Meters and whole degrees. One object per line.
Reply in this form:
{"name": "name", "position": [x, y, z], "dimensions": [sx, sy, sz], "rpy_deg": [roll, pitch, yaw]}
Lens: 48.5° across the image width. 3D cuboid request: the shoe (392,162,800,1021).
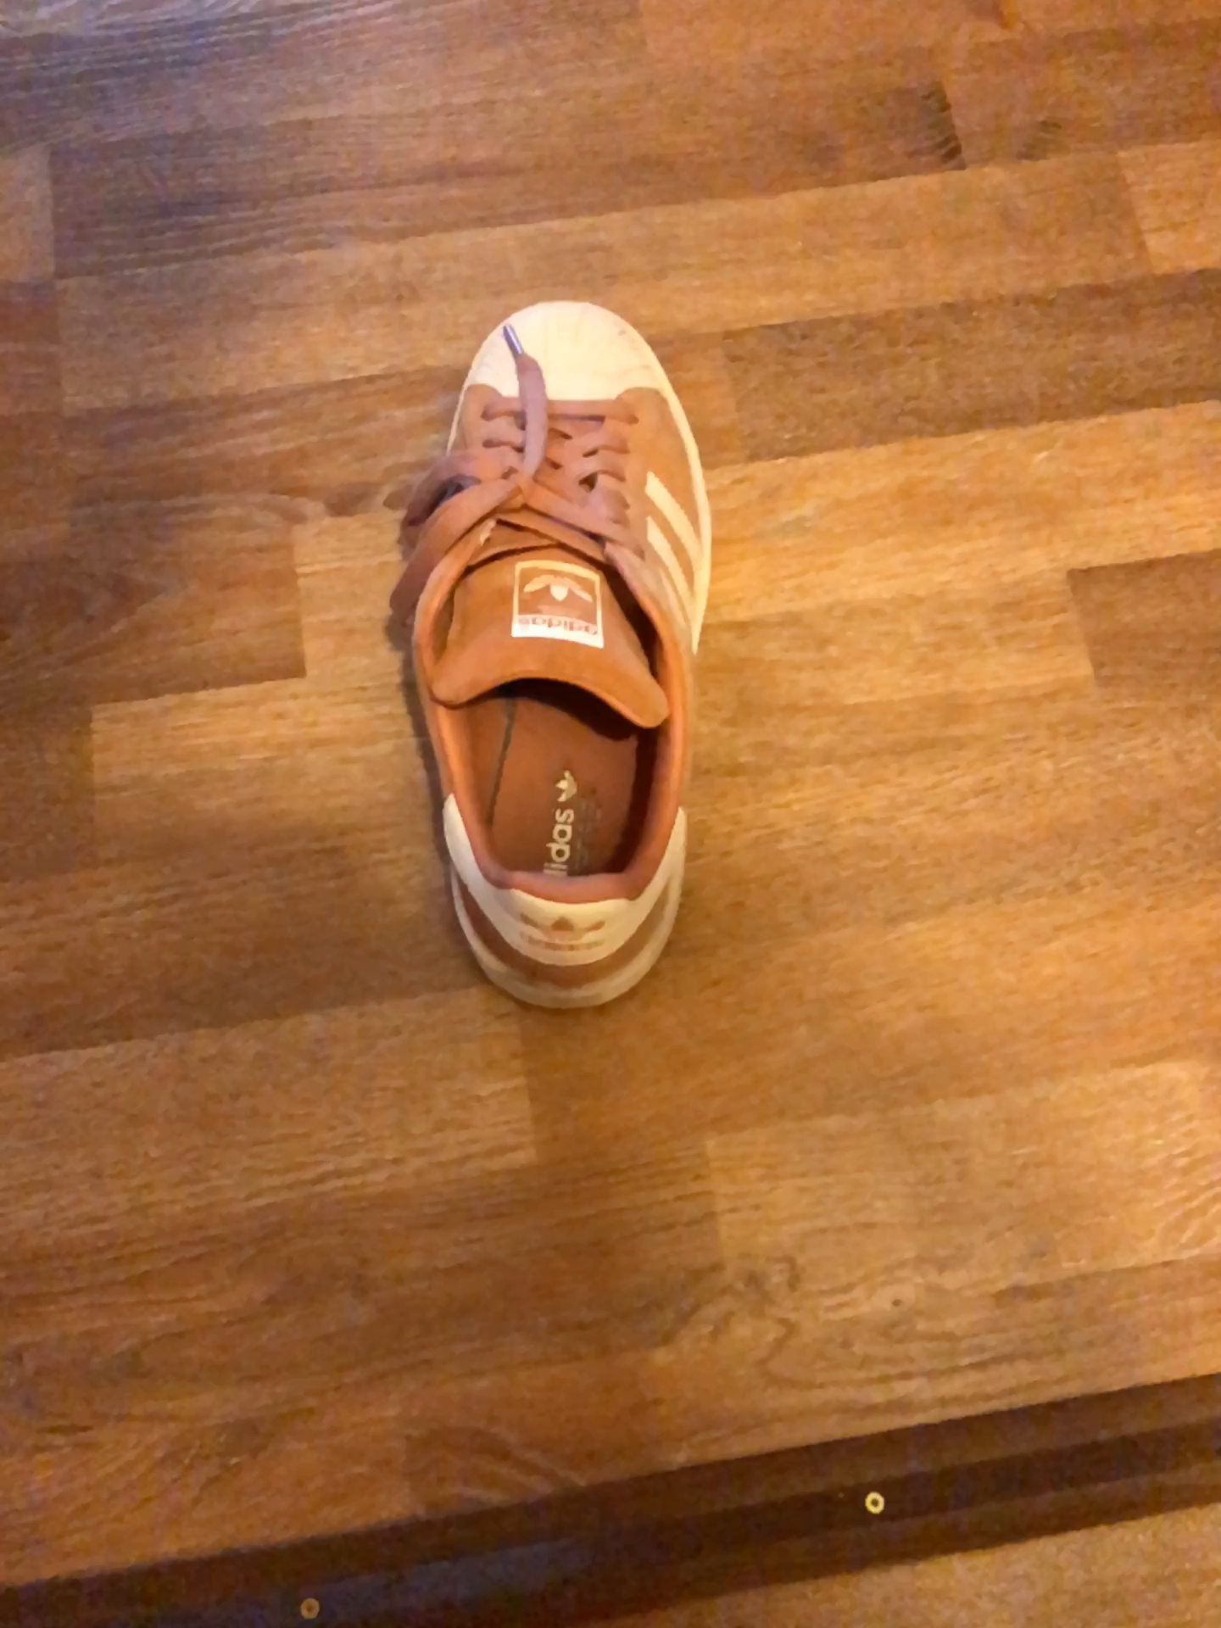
{"name": "shoe", "position": [-0.011, -0.071, 0.456], "dimensions": [0.110, 0.110, 0.261], "rpy_deg": [-2, 73, -2]}
